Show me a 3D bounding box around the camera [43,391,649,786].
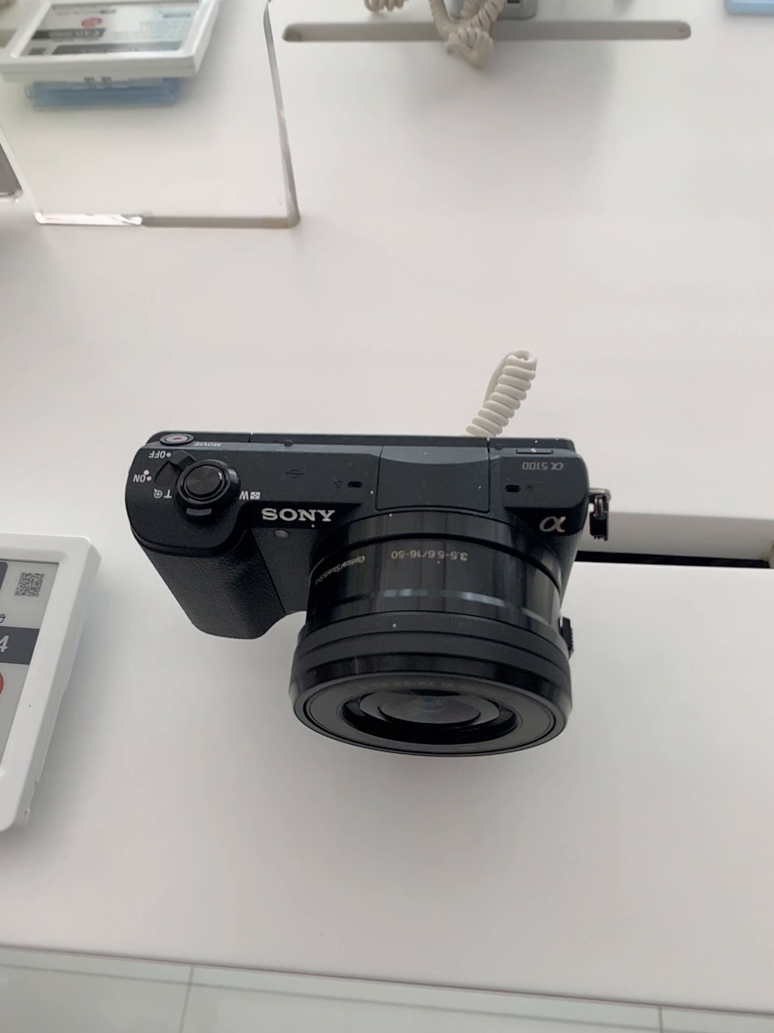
[{"bbox_3d":[-0.005,0.021,0.194,0.110,0.080,0.060,2,58,5],"label":"camera"}]
